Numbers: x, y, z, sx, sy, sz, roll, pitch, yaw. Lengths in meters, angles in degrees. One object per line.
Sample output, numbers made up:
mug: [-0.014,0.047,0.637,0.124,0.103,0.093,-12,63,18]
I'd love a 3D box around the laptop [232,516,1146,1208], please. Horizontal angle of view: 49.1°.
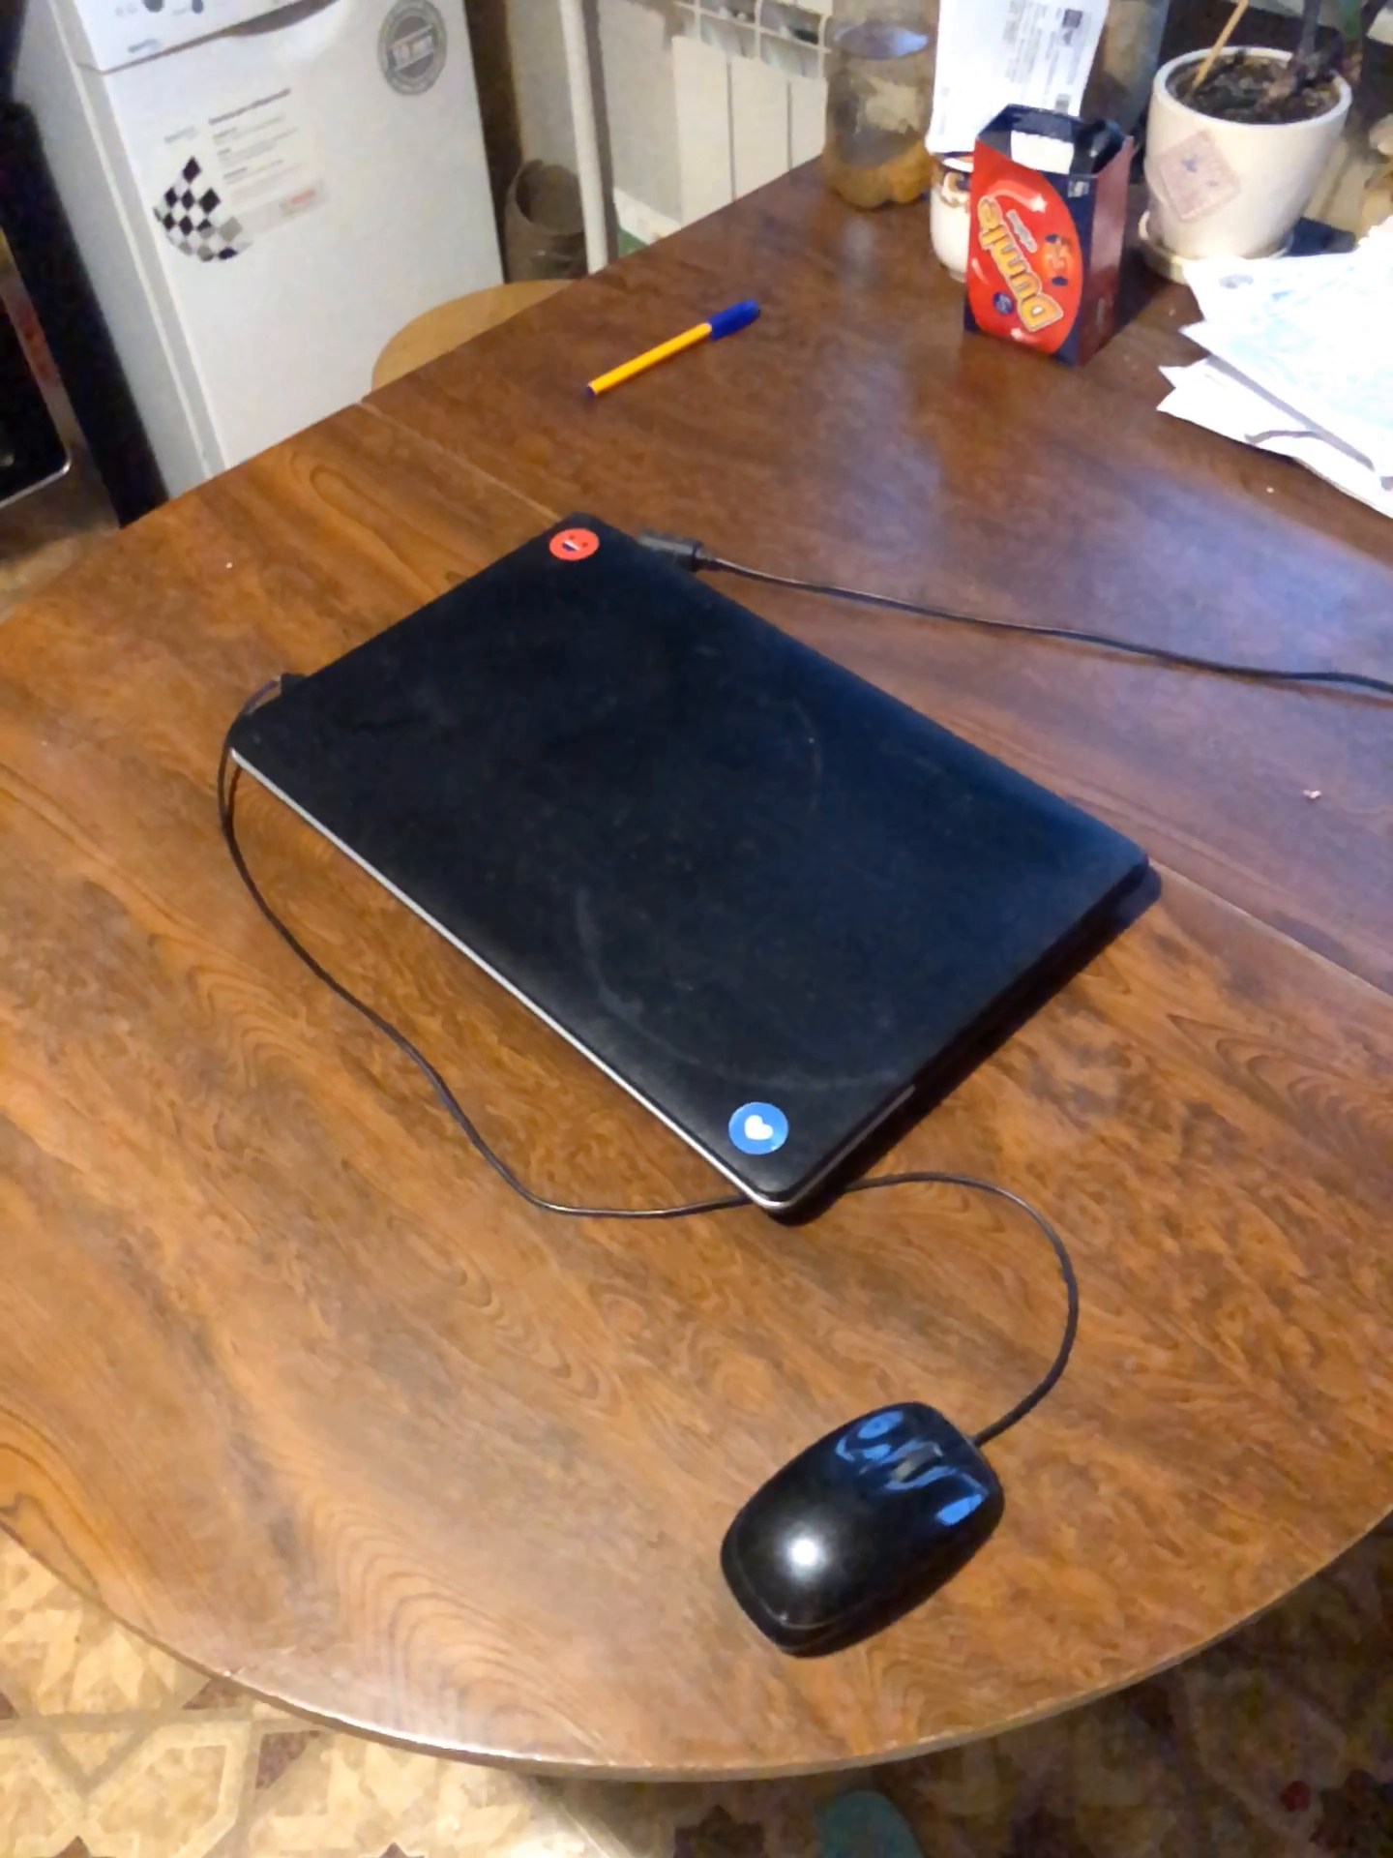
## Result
laptop: [-0.014,-0.061,0.722,0.367,0.007,0.239,37,63,27]
